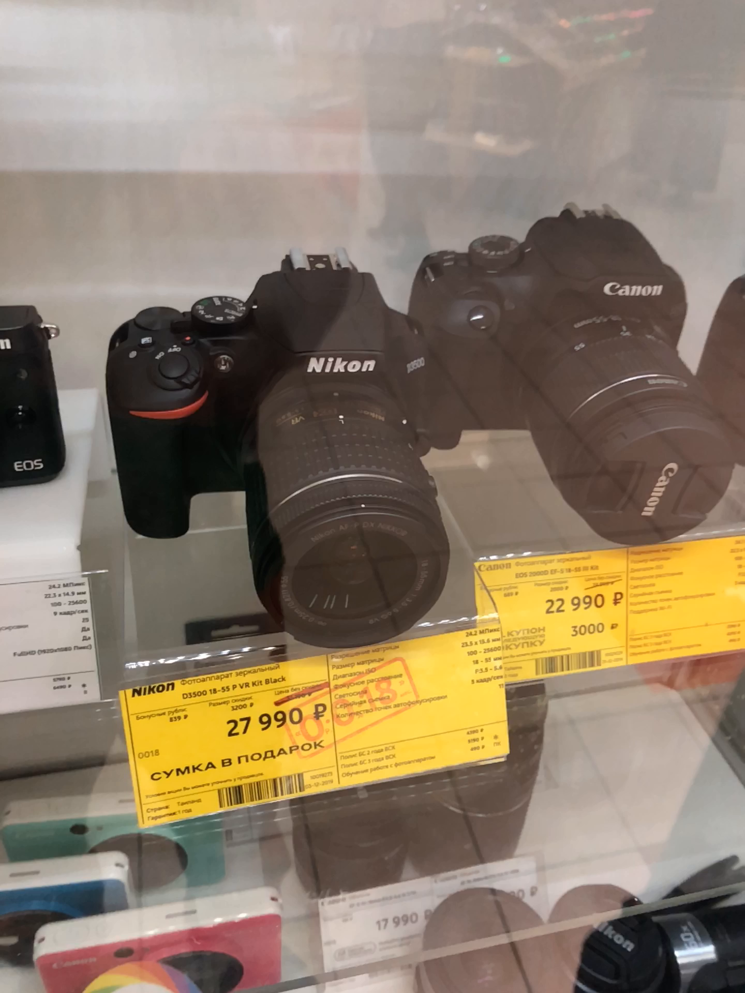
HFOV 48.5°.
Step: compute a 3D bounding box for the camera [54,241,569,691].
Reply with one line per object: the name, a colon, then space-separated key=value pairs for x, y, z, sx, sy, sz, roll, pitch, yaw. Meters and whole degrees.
camera: x=-0.027 y=-0.020 z=0.280 sx=0.130 sy=0.092 sz=0.121 roll=-5 pitch=36 yaw=-13
